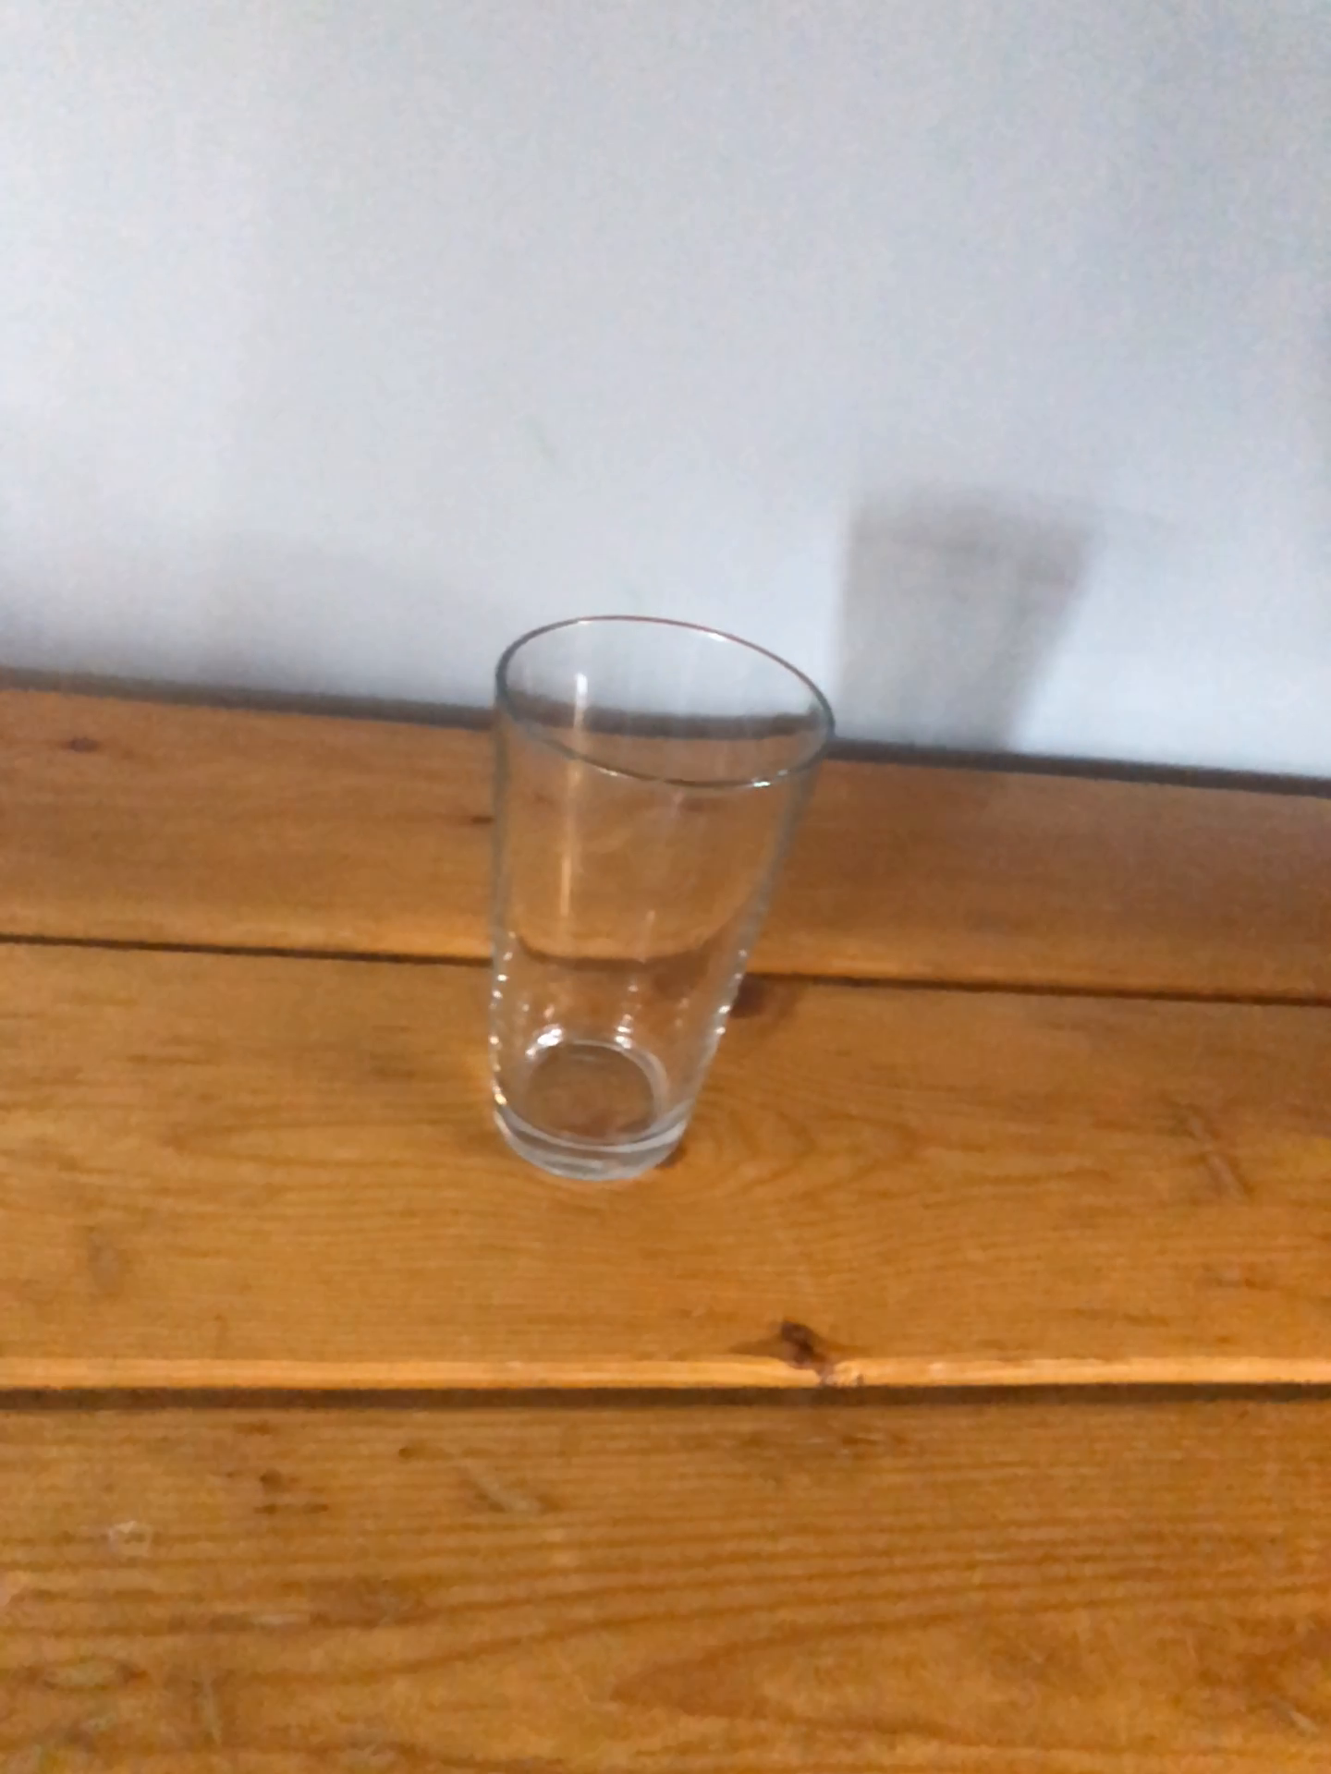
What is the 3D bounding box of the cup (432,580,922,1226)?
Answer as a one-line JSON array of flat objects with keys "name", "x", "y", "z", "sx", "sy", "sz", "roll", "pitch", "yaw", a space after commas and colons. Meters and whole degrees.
[{"name": "cup", "x": -0.007, "y": 0.004, "z": 0.411, "sx": 0.090, "sy": 0.149, "sz": 0.090, "roll": 7, "pitch": 37, "yaw": -6}]
